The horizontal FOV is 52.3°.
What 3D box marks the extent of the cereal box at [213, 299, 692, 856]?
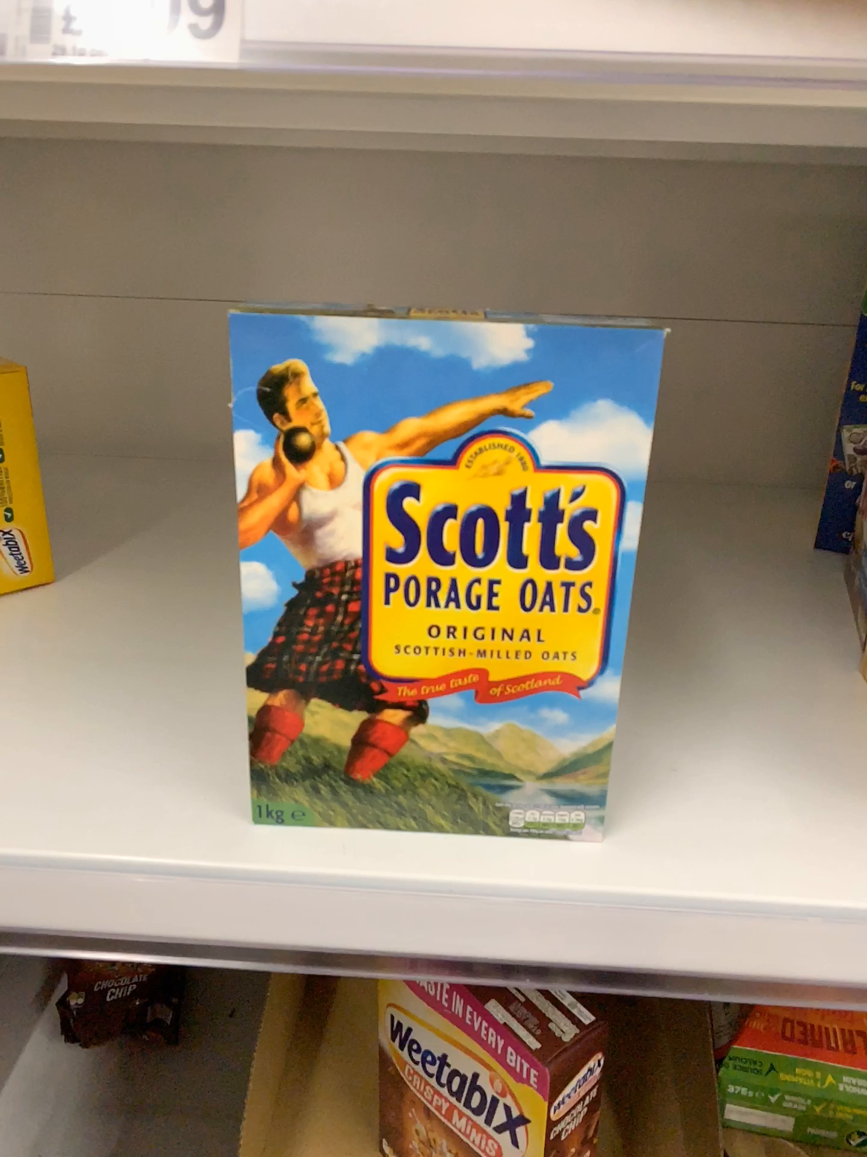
[{"bbox_3d":[0.004,0.004,0.450,0.200,0.268,0.071,2,22,1],"label":"cereal box"}]
